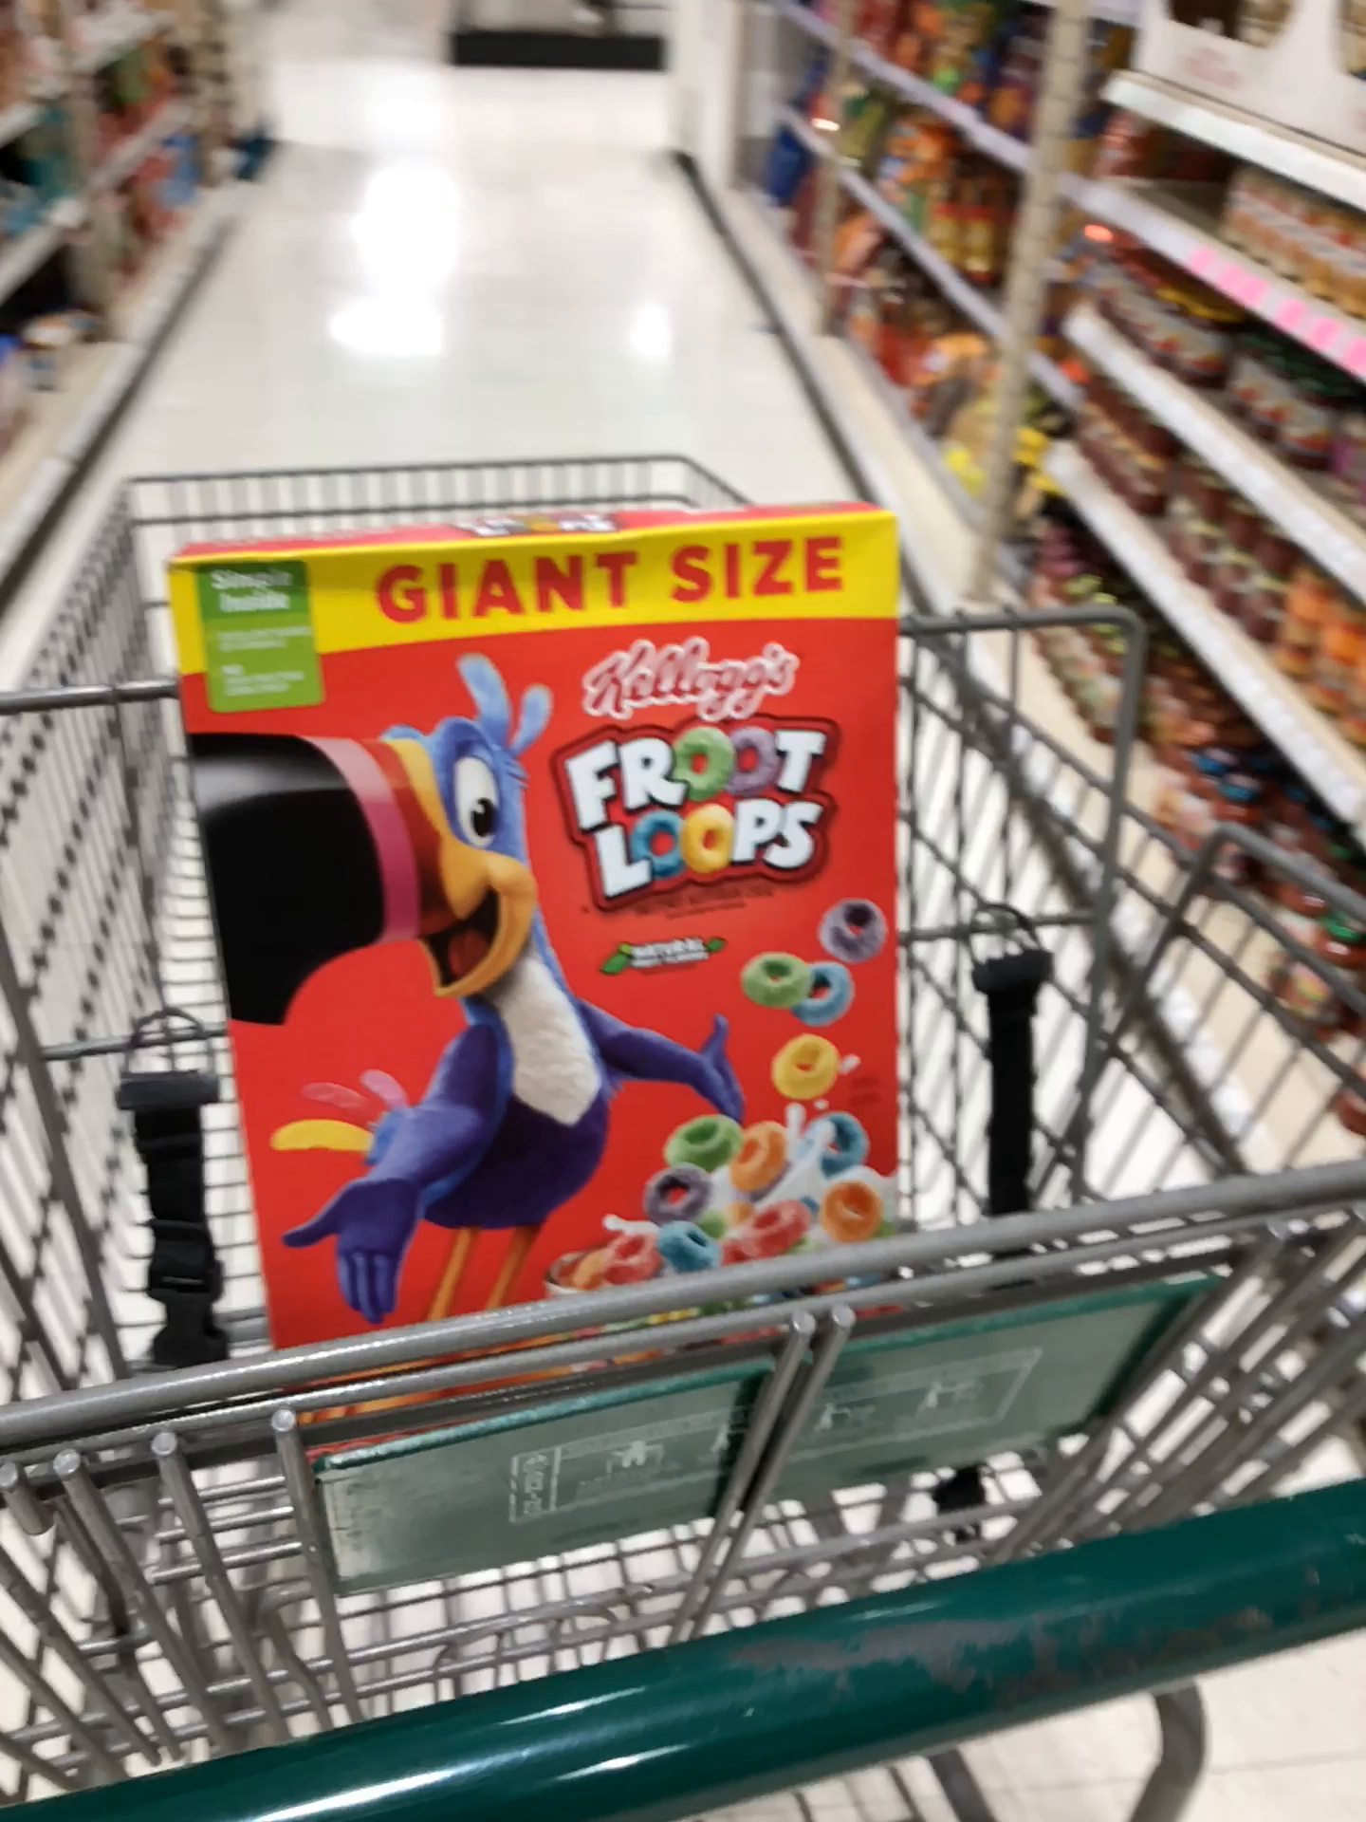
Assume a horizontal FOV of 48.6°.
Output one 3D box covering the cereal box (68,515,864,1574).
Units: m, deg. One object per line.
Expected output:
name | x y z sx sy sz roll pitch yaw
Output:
cereal box | -0.070 0.042 0.589 0.260 0.369 0.090 -6 15 -15
